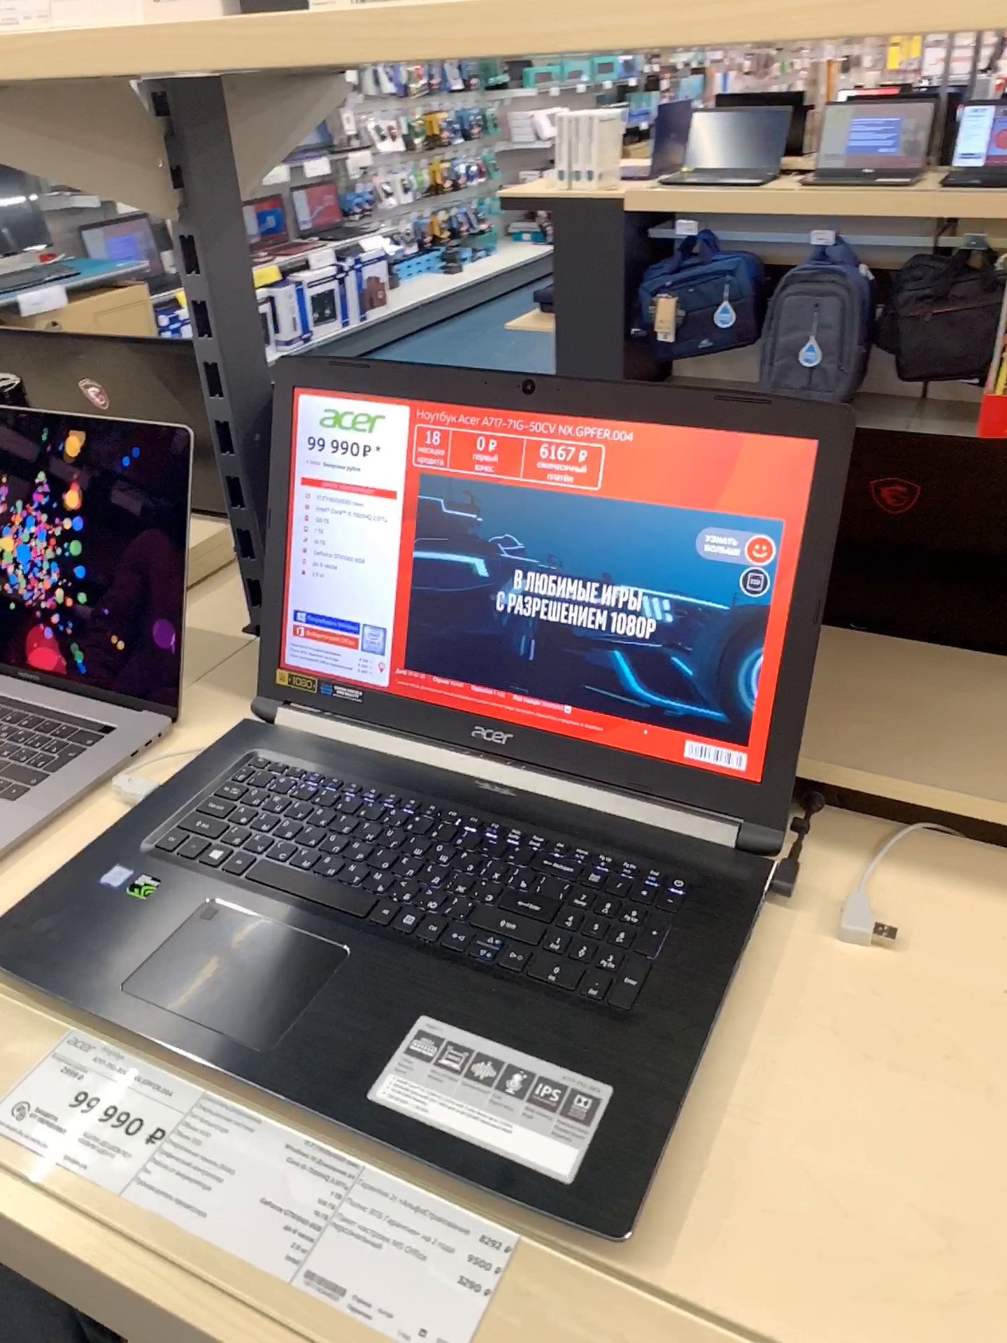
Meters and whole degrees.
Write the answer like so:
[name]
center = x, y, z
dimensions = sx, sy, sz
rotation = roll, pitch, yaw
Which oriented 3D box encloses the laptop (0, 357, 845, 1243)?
[laptop]
center = -0.059, 0.006, 0.594
dimensions = 0.406, 0.248, 0.363
rotation = 12, 34, 23
